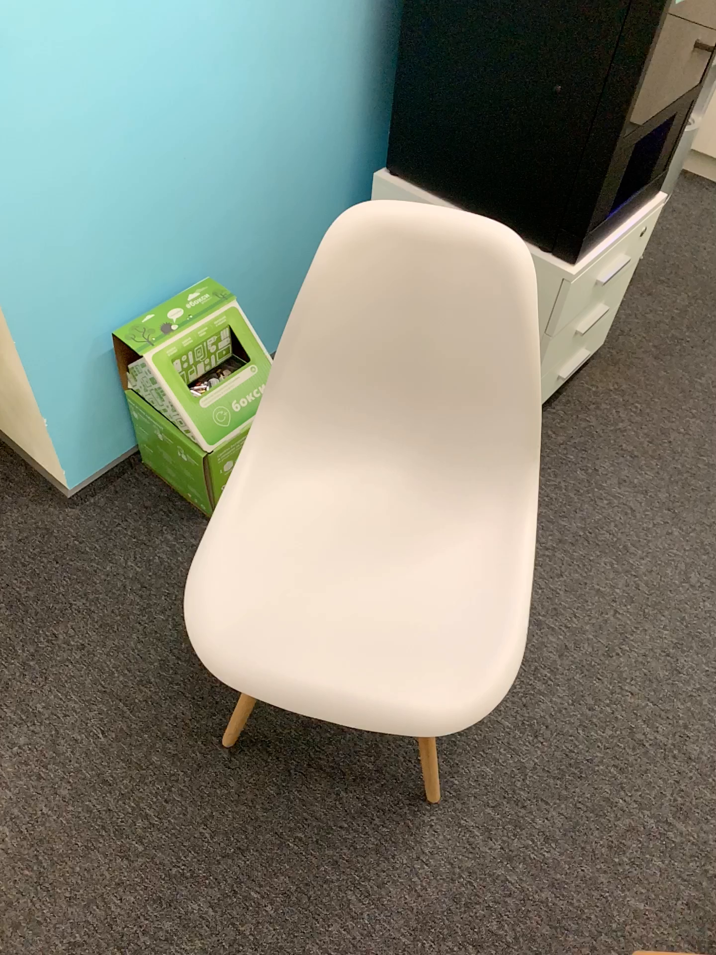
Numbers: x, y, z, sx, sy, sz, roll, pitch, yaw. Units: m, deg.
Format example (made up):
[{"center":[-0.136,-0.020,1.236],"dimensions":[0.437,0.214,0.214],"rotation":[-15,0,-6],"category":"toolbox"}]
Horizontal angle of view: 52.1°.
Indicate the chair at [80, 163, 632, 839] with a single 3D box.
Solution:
[{"center":[0.021,0.096,1.066],"dimensions":[0.460,0.816,0.502],"rotation":[13,51,6],"category":"chair"}]
